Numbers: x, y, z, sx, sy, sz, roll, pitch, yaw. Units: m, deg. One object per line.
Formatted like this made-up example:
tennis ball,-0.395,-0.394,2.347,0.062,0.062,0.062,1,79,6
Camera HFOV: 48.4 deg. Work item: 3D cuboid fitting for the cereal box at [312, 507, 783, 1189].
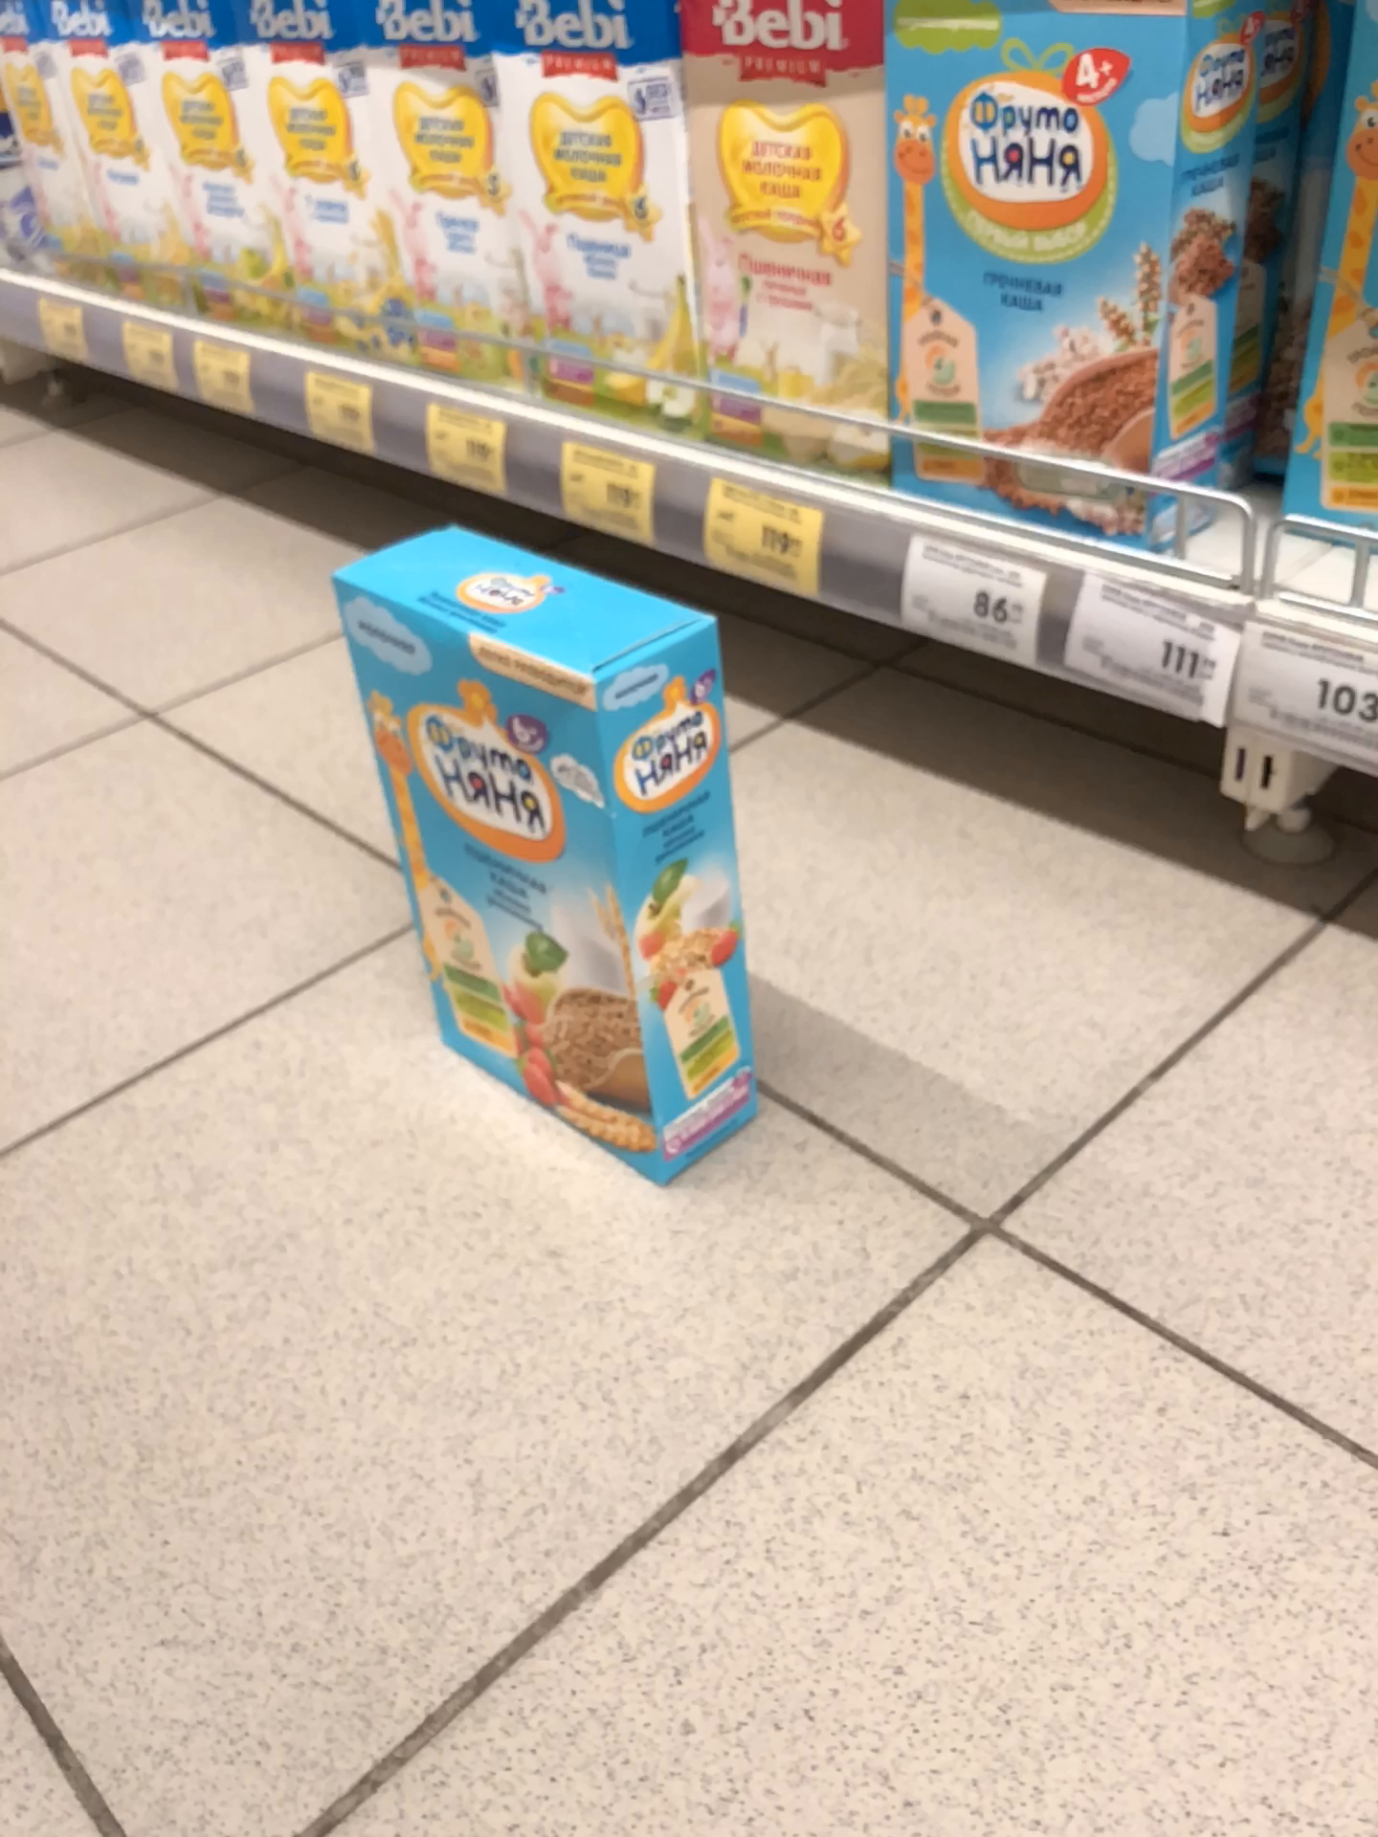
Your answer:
cereal box,-0.045,-0.025,0.537,0.140,0.199,0.060,26,46,37
